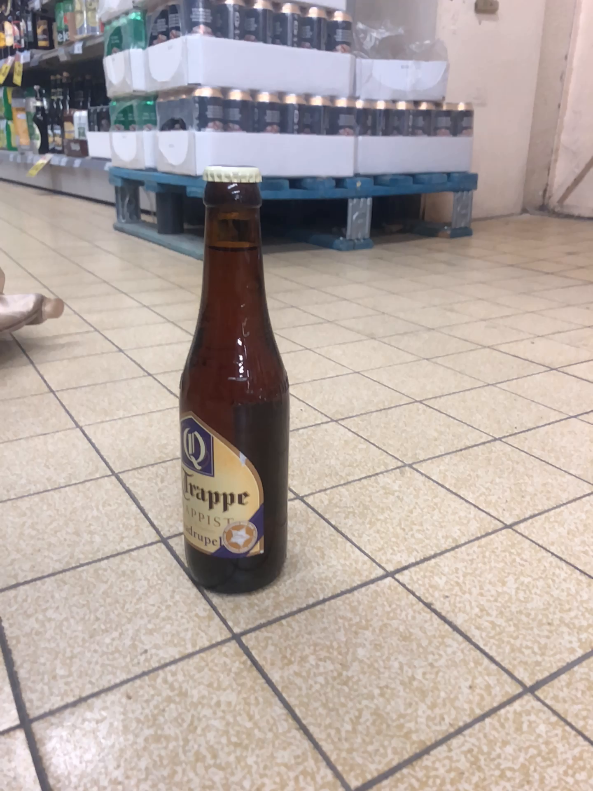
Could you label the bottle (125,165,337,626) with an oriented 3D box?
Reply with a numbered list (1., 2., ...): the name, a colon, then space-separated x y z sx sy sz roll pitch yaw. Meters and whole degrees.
1. bottle: -0.032 -0.003 0.341 0.070 0.219 0.070 1 20 0
